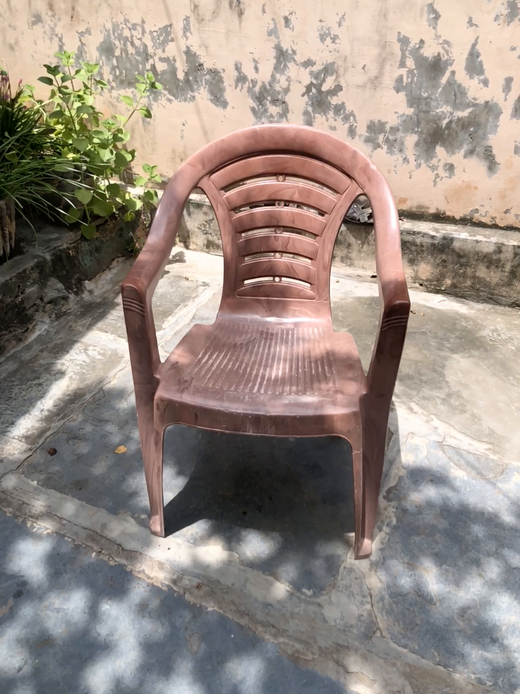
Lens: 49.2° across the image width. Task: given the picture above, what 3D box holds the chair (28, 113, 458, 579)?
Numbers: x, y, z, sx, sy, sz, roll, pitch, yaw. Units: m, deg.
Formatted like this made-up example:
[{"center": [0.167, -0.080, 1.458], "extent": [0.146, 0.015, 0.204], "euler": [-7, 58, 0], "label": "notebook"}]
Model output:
[{"center": [0.008, -0.017, 1.195], "extent": [0.580, 0.766, 0.543], "euler": [4, 35, 7], "label": "chair"}]
